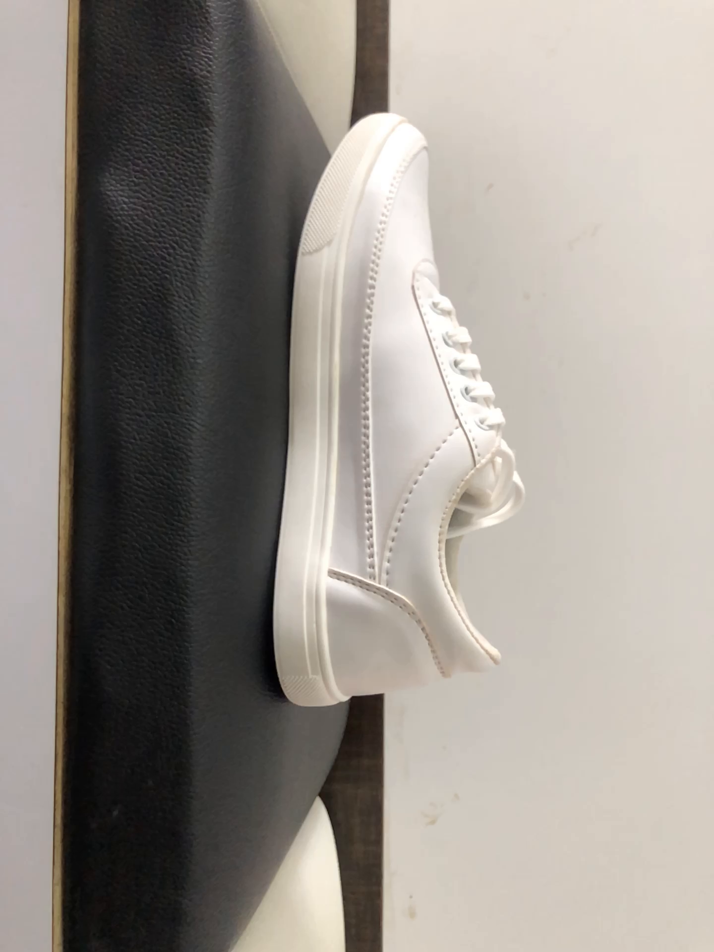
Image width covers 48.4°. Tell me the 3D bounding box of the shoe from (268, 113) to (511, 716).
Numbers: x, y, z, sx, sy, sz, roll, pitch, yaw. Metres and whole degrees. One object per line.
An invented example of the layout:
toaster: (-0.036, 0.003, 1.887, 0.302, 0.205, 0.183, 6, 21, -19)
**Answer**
shoe: (0.027, -0.027, 0.444, 0.130, 0.110, 0.290, 48, 43, -78)
